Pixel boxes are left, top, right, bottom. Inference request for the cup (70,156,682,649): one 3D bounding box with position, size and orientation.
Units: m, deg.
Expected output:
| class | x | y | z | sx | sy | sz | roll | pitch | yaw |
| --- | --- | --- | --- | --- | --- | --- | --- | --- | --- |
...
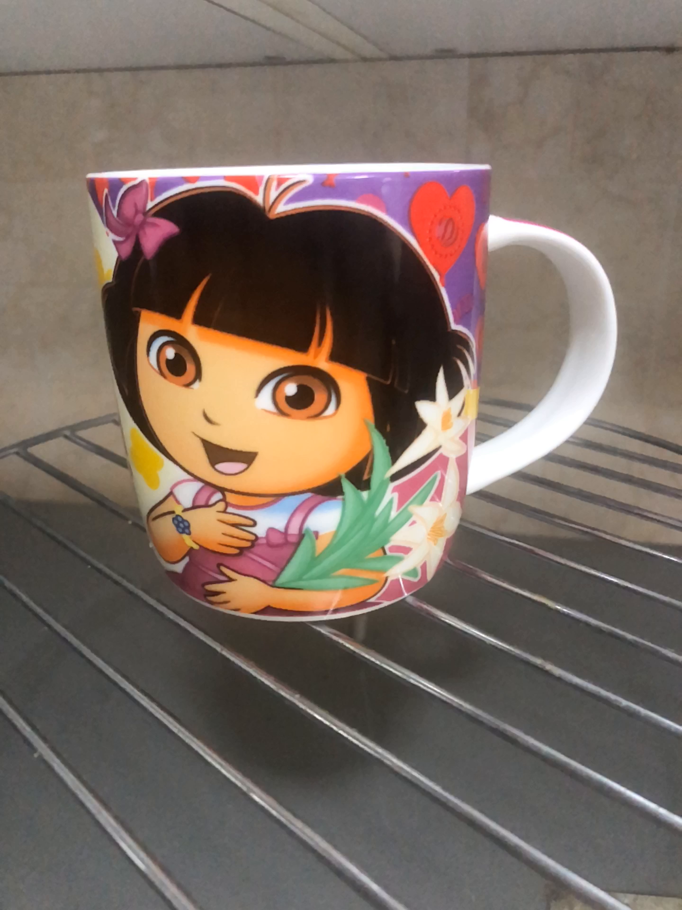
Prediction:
| class | x | y | z | sx | sy | sz | roll | pitch | yaw |
| --- | --- | --- | --- | --- | --- | --- | --- | --- | --- |
| cup | 0.011 | -0.021 | 0.177 | 0.120 | 0.089 | 0.070 | -4 | 21 | -10 |
